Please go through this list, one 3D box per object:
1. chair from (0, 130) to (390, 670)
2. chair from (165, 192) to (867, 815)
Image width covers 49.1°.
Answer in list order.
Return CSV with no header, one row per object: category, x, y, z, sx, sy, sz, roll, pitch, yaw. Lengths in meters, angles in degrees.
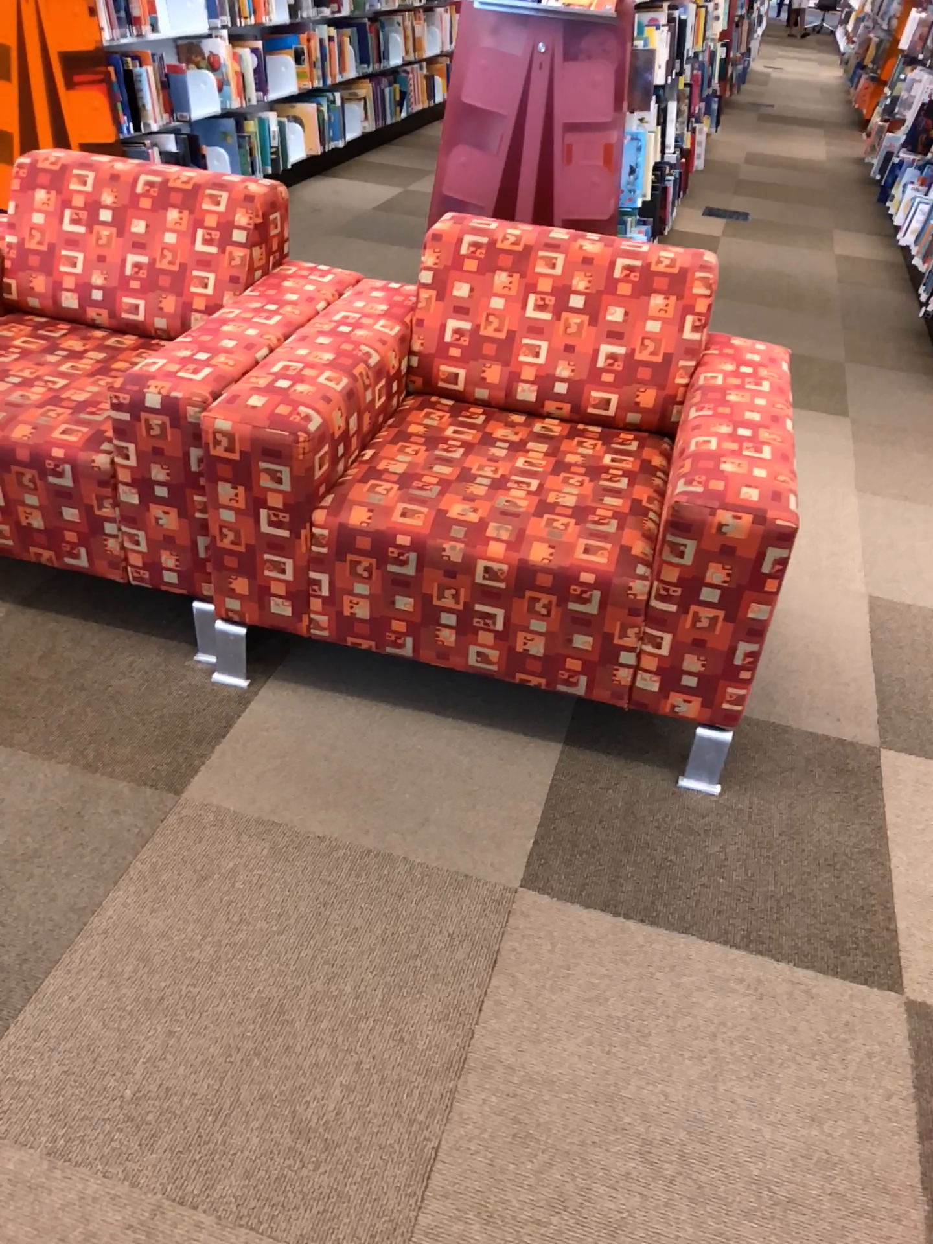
chair,-0.770,-0.552,2.208,0.919,0.716,0.957,12,34,9
chair,0.136,-0.325,2.013,1.002,0.686,0.997,12,34,9
